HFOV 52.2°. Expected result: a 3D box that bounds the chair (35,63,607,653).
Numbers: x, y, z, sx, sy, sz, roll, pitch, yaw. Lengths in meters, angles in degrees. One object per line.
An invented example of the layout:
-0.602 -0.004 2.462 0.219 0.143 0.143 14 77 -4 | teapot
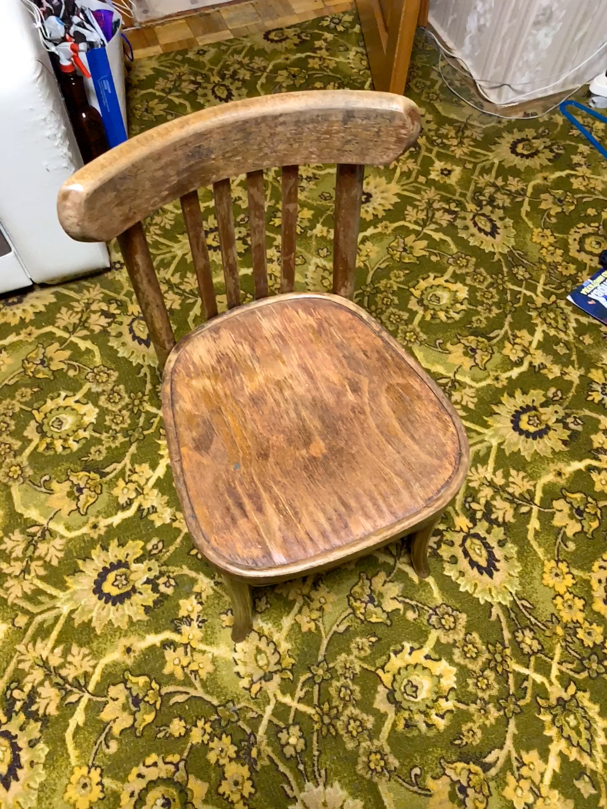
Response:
-0.012 0.030 0.872 0.400 0.736 0.412 -17 64 -10 | chair
